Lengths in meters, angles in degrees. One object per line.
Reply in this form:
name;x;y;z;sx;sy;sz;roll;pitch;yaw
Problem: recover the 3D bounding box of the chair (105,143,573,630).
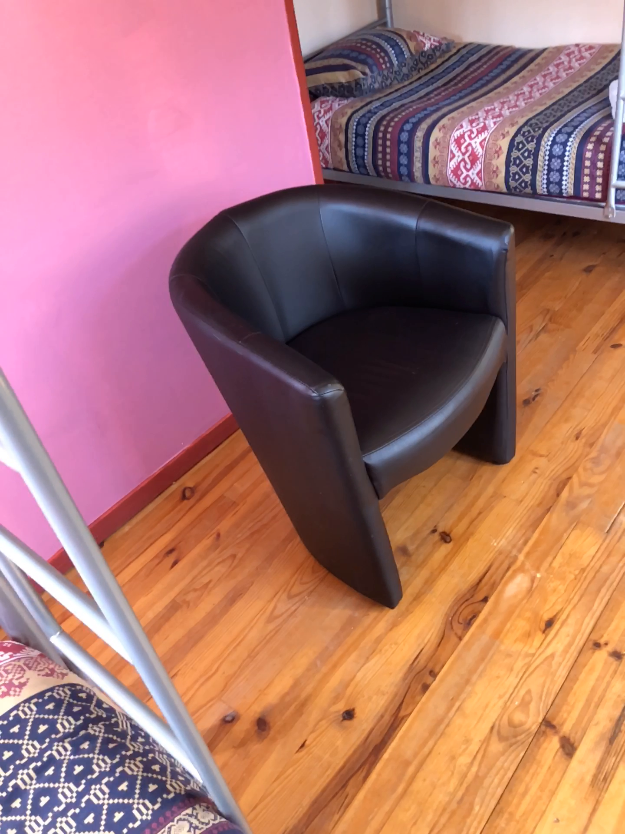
chair;0.109;-0.116;1.472;0.590;0.647;0.673;22;50;35
